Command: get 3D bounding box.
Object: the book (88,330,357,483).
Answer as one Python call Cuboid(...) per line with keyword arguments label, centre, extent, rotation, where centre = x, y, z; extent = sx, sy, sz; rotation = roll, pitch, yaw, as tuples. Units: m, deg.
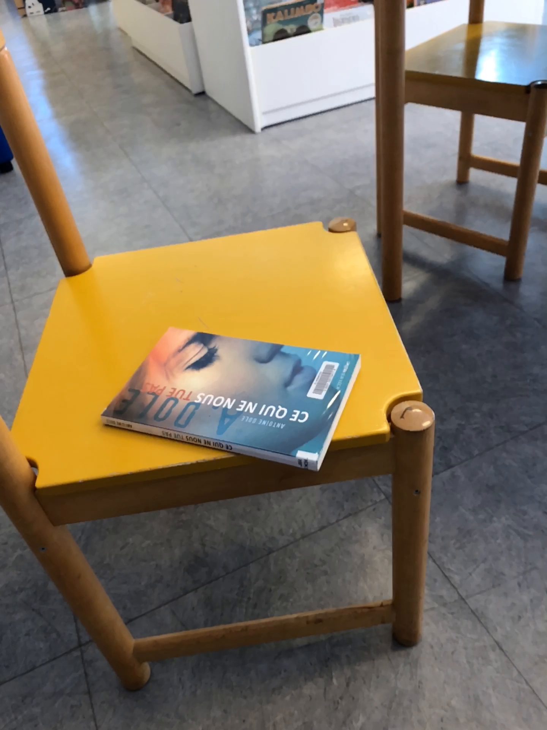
Cuboid(label="book", centre=(-0.044, 0.028, 0.562), extent=(0.212, 0.016, 0.141), rotation=(9, 43, 20))
